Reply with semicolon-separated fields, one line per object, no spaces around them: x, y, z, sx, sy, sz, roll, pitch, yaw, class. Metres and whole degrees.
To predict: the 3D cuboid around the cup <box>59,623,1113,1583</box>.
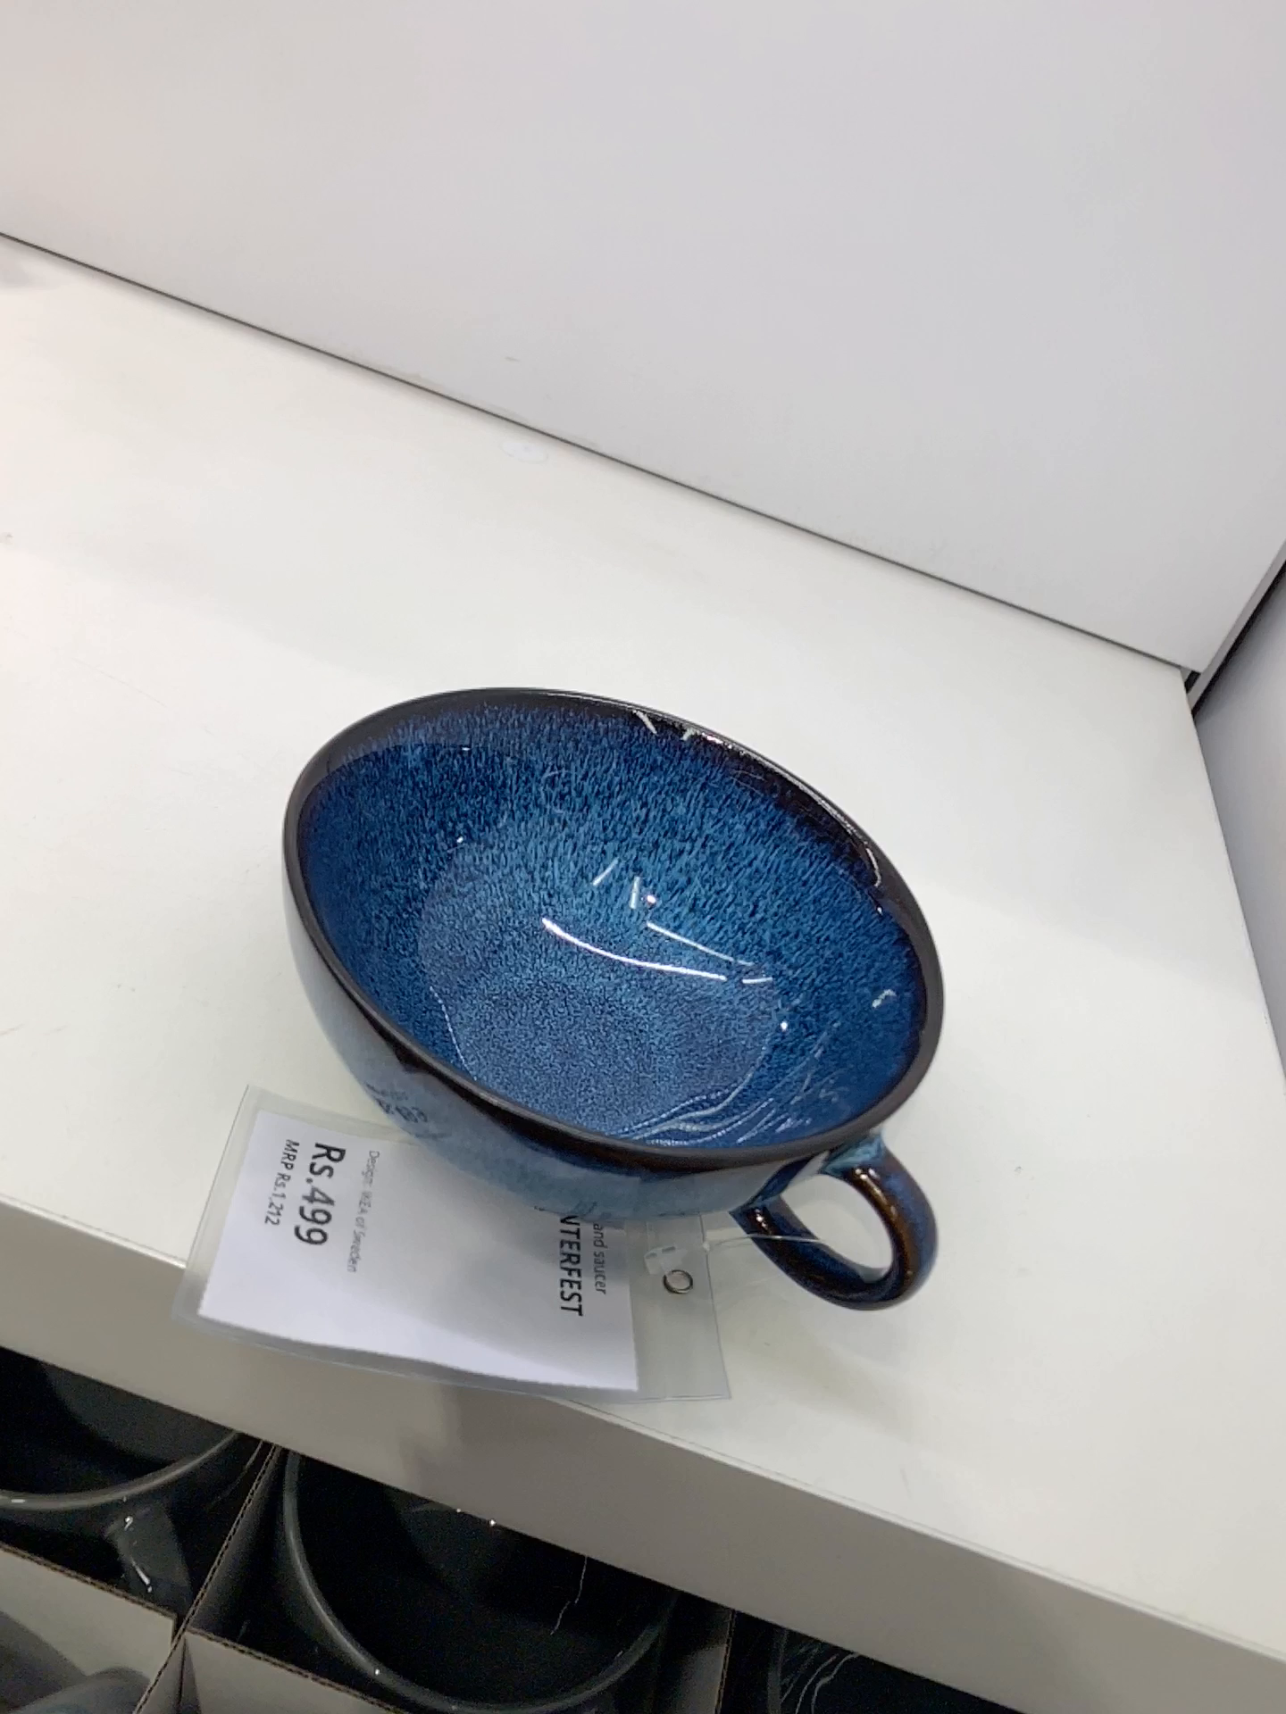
-0.012;0.026;0.266;0.160;0.050;0.131;38;39;24;cup
